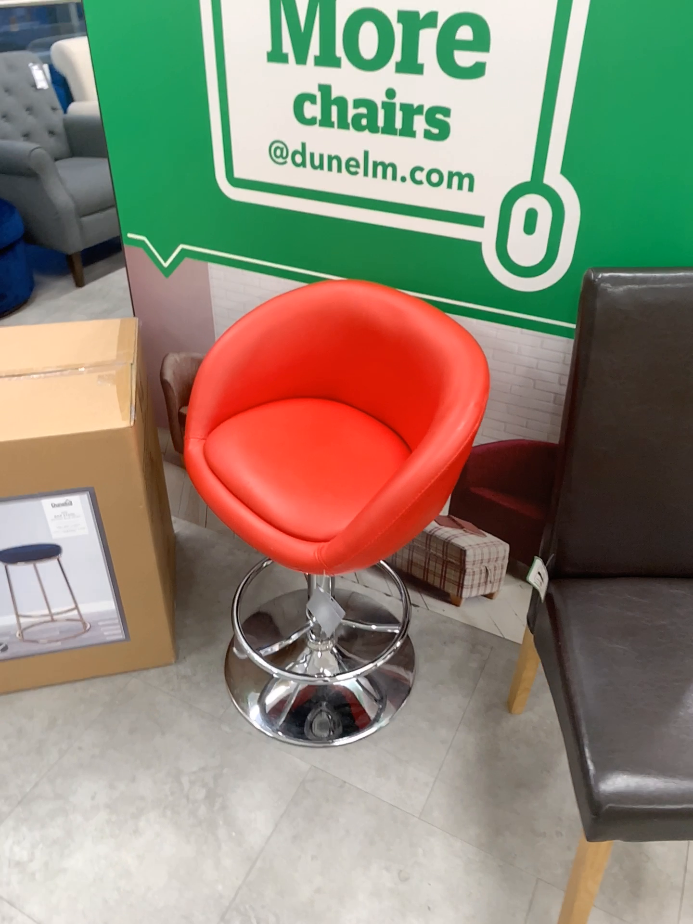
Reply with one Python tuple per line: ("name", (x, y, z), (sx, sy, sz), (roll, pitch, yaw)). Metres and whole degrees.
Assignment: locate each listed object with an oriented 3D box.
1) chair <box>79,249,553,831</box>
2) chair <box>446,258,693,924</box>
("chair", (-0.053, 0.109, 1.264), (0.537, 0.744, 0.463), (29, 44, 34))
("chair", (0.467, 0.229, 0.988), (0.504, 0.853, 0.536), (-1, 35, -2))
